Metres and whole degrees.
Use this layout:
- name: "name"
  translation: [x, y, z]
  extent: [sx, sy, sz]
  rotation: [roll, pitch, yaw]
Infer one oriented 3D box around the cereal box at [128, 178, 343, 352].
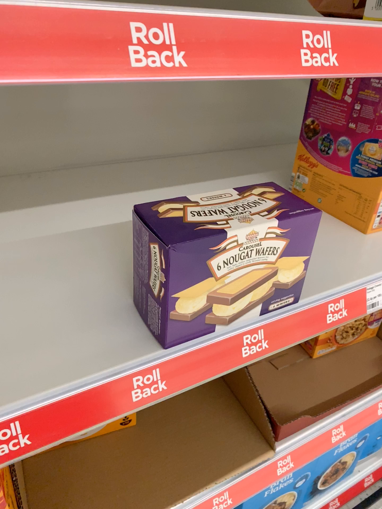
- name: "cereal box"
  translation: [0.042, 0.000, 0.406]
  extent: [0.191, 0.109, 0.091]
  rotation: [-14, 36, -26]
